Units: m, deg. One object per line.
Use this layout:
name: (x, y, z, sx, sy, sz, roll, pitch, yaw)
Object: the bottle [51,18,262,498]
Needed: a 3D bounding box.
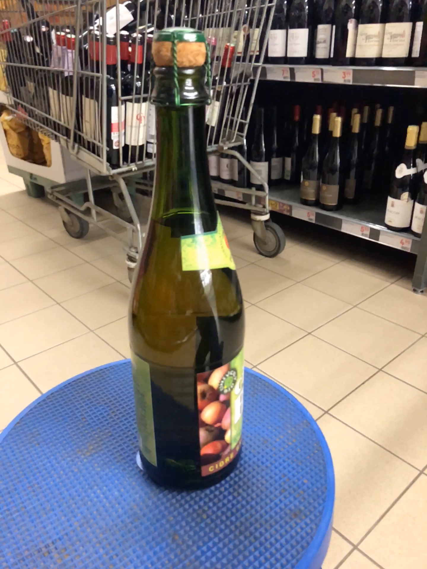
bottle: (-0.018, -0.004, 0.305, 0.090, 0.288, 0.091, -1, 26, 1)
